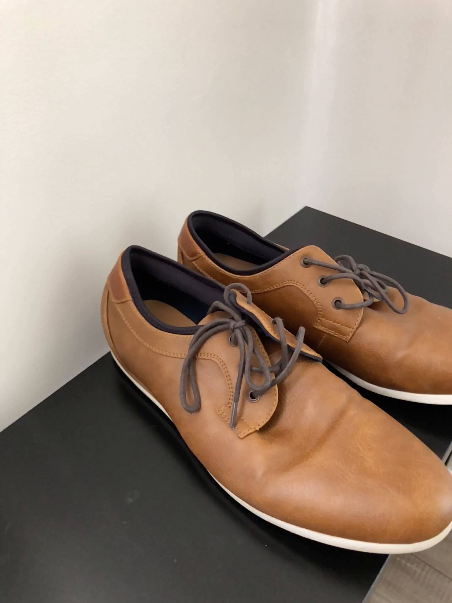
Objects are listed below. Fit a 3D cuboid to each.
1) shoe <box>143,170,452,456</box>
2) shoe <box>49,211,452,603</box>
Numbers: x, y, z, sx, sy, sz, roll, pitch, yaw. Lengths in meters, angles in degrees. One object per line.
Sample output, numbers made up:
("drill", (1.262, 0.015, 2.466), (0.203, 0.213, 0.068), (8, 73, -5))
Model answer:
("shoe", (0.081, -0.008, 0.403), (0.281, 0.100, 0.104), (22, 45, 25))
("shoe", (0.015, 0.051, 0.321), (0.271, 0.100, 0.104), (32, 50, 33))
